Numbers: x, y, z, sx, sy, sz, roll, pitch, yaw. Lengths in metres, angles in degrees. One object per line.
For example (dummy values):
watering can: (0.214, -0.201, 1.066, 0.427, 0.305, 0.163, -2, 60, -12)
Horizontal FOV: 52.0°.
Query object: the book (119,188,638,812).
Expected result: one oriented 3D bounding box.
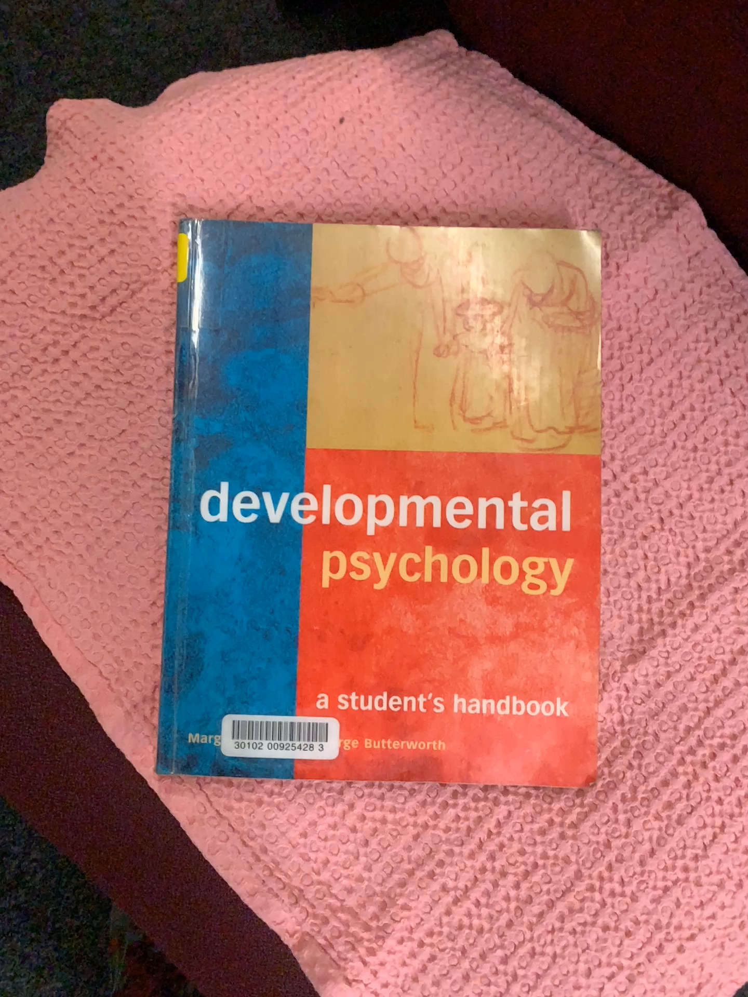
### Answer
book: (0.004, -0.002, 0.342, 0.210, 0.040, 0.260, 1, 85, -1)
